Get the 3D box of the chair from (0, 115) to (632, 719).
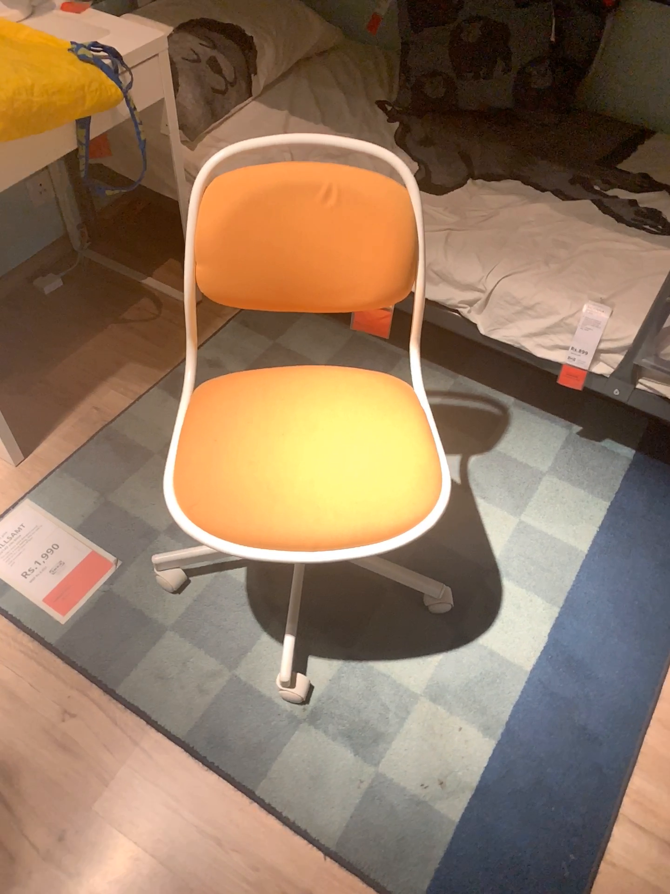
[{"bbox_3d":[-0.030,-0.014,1.114,0.610,0.708,0.652,3,52,-1],"label":"chair"}]
